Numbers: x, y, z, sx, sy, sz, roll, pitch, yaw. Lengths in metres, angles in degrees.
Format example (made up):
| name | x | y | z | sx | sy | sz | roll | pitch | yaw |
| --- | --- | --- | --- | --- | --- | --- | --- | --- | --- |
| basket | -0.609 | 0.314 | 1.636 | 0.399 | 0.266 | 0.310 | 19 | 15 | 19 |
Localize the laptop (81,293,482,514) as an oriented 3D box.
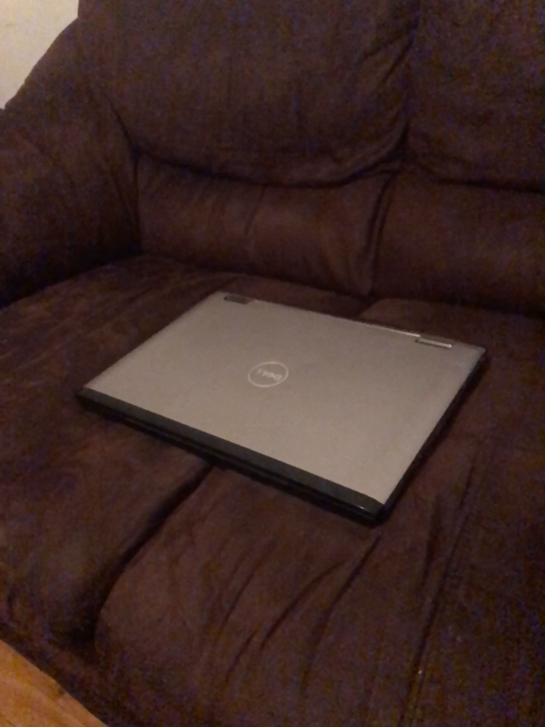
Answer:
| name | x | y | z | sx | sy | sz | roll | pitch | yaw |
| --- | --- | --- | --- | --- | --- | --- | --- | --- | --- |
| laptop | 0.007 | 0.012 | 0.673 | 0.370 | 0.002 | 0.261 | 16 | 40 | 31 |
